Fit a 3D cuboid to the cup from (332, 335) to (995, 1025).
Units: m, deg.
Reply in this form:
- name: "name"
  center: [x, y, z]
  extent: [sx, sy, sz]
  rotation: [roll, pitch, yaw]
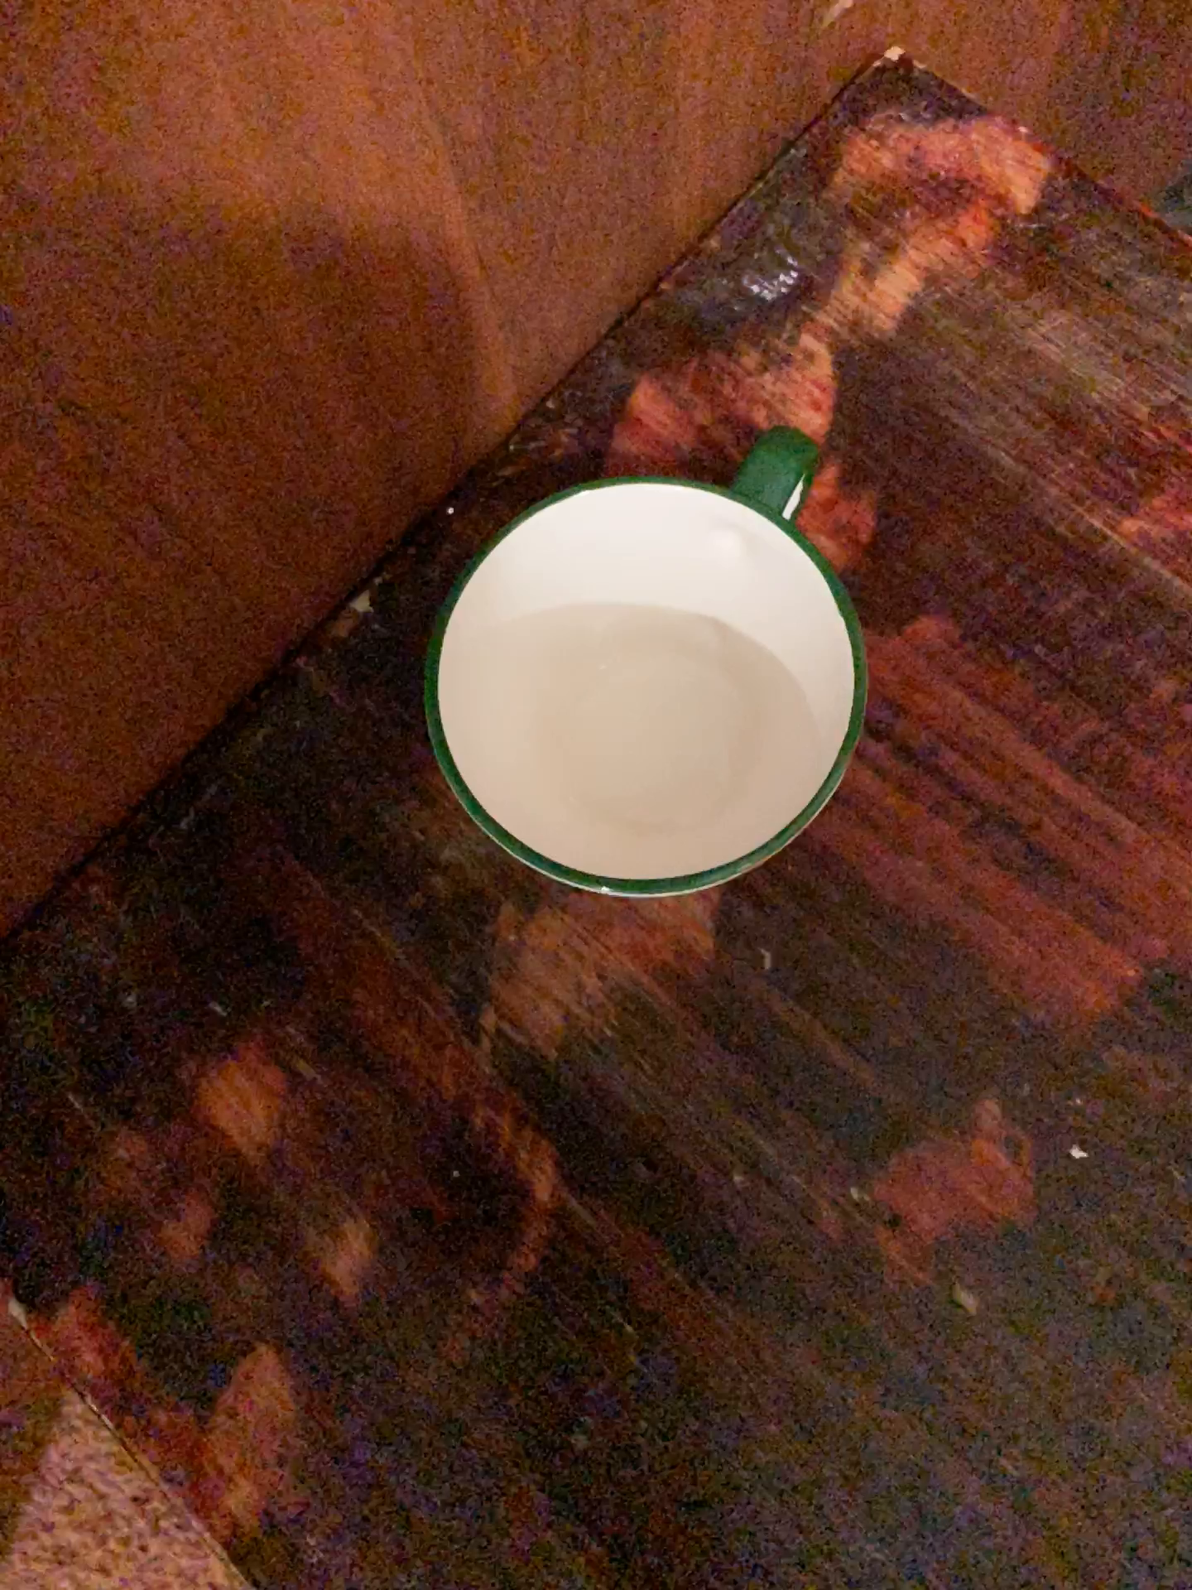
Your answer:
- name: "cup"
  center: [0.013, -0.019, 0.226]
  extent: [0.075, 0.045, 0.094]
  rotation: [26, 81, 10]
